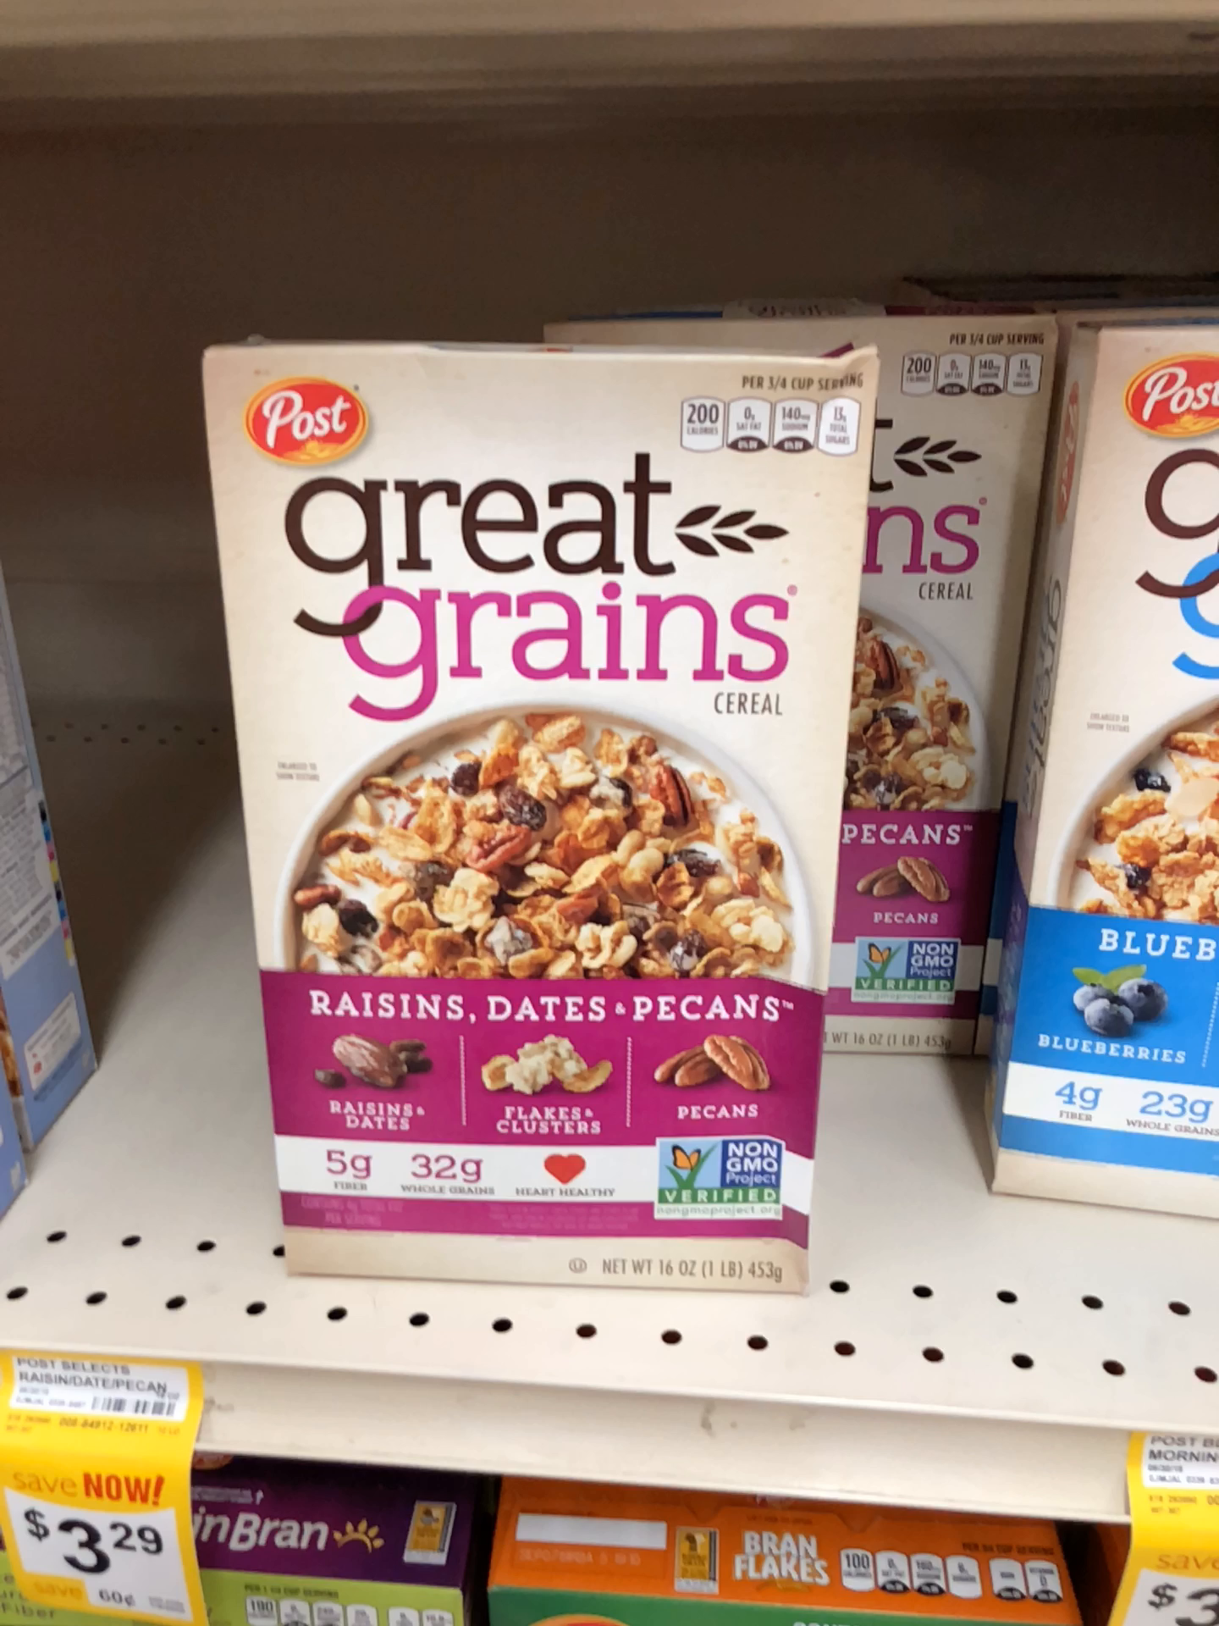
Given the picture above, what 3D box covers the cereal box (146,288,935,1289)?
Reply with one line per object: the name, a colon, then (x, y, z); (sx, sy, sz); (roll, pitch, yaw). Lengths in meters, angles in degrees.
cereal box: (-0.015, 0.004, 0.366); (0.170, 0.269, 0.050); (1, 24, 3)
